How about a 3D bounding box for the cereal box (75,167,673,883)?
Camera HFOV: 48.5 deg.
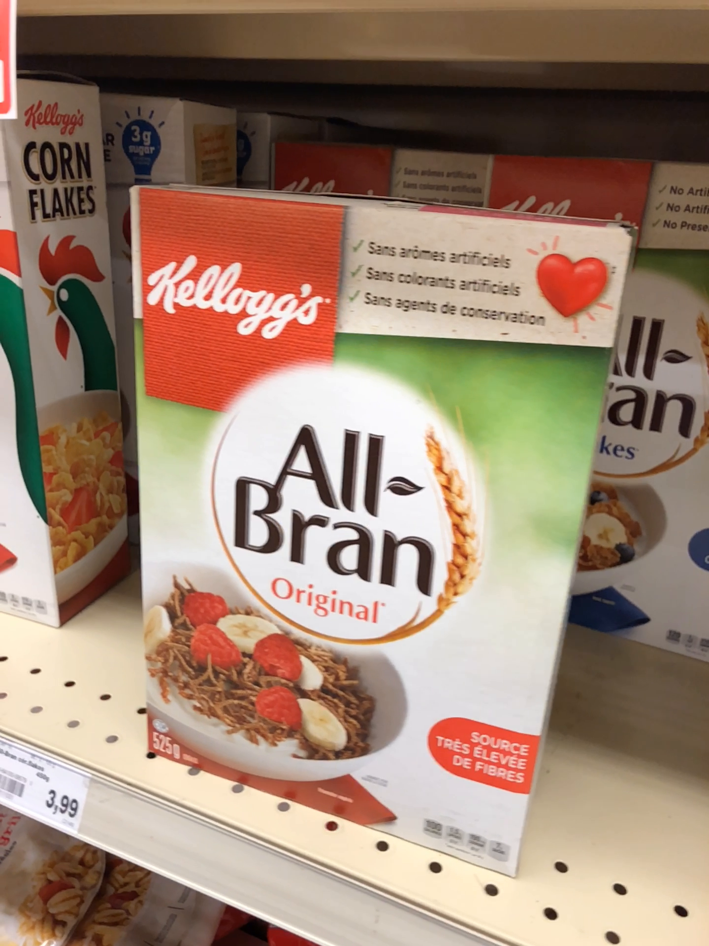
[{"bbox_3d":[-0.003,0.016,0.301,0.190,0.238,0.050,11,23,19],"label":"cereal box"}]
